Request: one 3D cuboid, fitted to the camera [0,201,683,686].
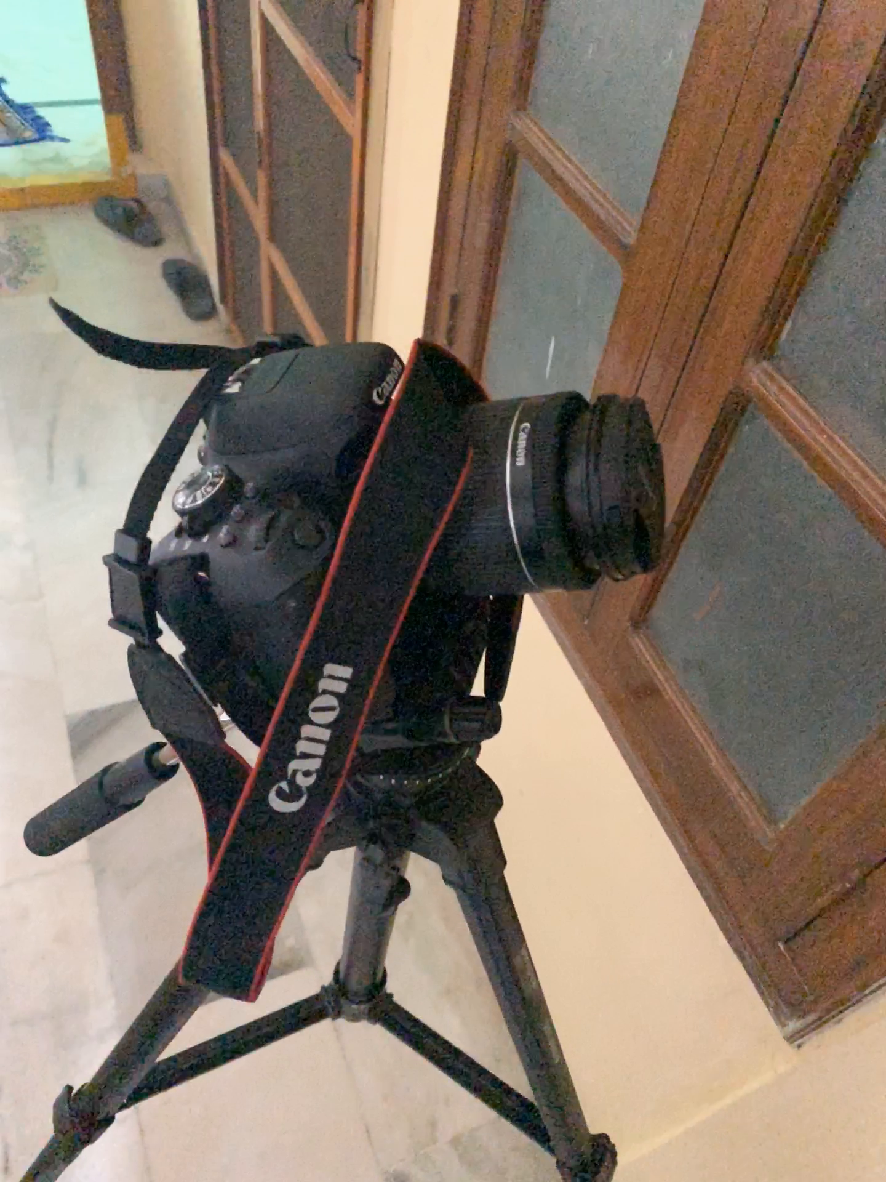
[{"bbox_3d":[-0.031,-0.051,0.356,0.225,0.100,0.142,-2,47,21],"label":"camera"}]
